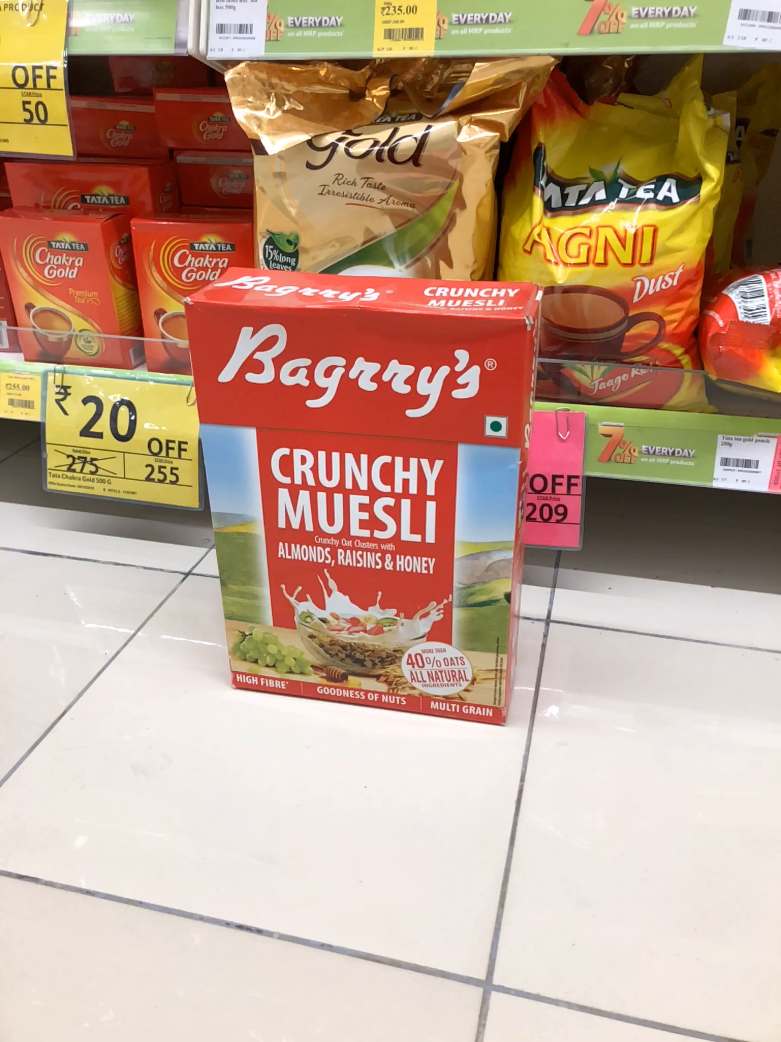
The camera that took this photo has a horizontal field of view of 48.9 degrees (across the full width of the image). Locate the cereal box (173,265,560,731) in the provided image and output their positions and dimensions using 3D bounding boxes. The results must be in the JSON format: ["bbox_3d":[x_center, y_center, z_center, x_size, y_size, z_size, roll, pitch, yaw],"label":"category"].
[{"bbox_3d":[-0.009,-0.010,0.533,0.200,0.268,0.070,5,29,11],"label":"cereal box"}]
